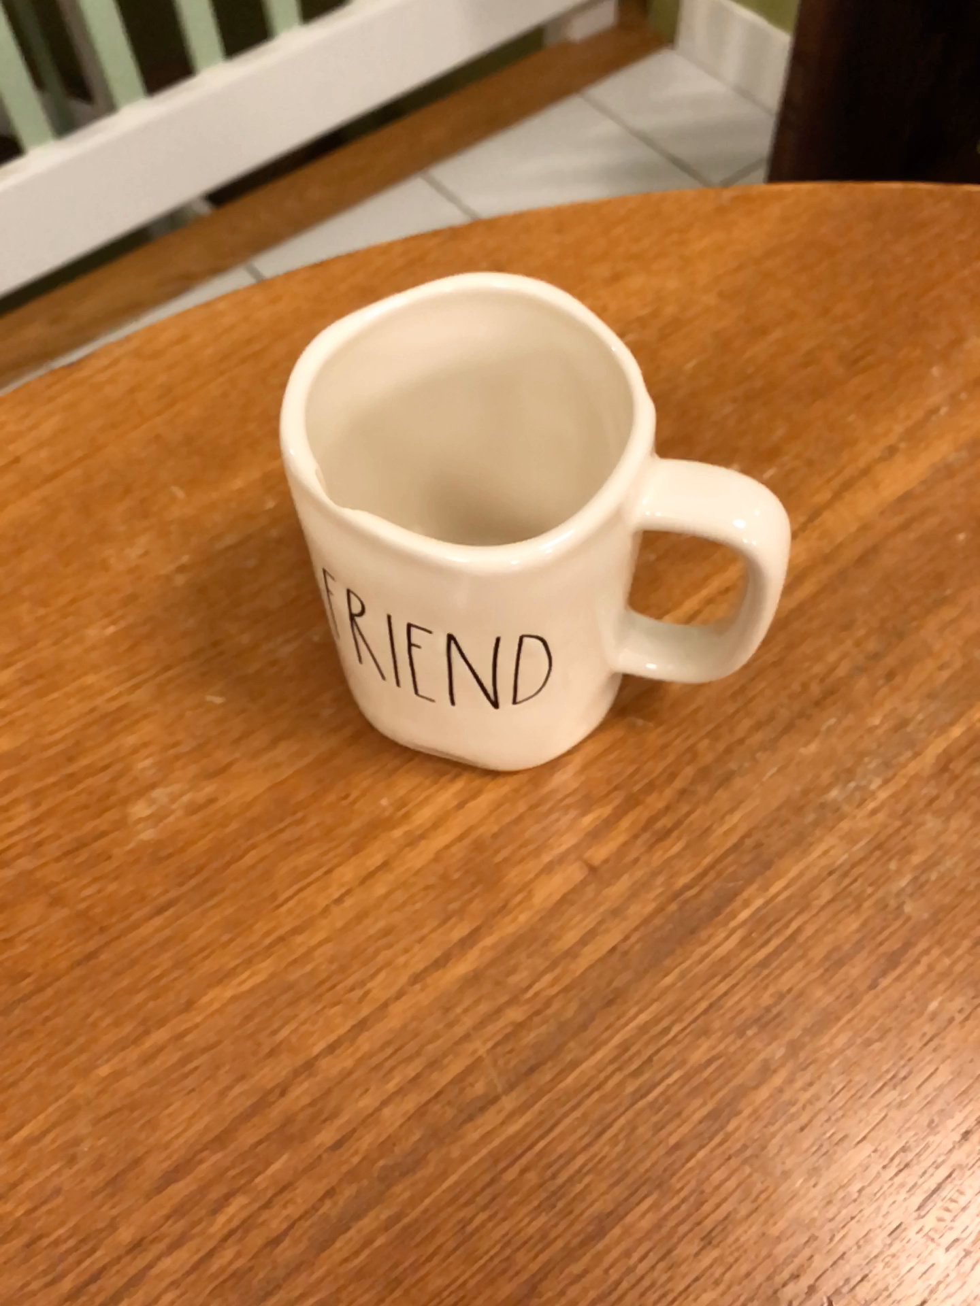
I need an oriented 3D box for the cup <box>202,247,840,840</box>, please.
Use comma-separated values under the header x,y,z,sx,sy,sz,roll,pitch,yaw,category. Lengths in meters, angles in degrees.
x,y,z,sx,sy,sz,roll,pitch,yaw,category
0.012,-0.024,0.293,0.124,0.114,0.084,13,61,10,cup
